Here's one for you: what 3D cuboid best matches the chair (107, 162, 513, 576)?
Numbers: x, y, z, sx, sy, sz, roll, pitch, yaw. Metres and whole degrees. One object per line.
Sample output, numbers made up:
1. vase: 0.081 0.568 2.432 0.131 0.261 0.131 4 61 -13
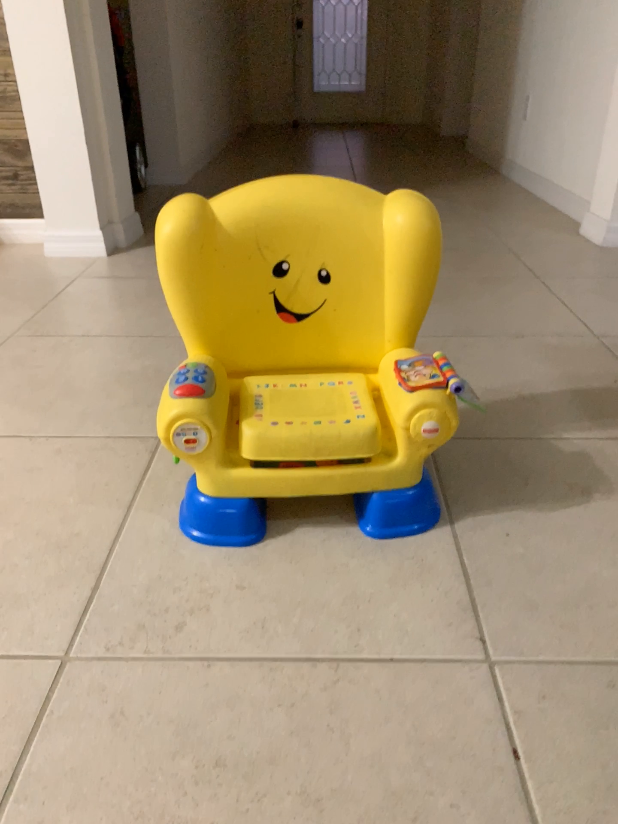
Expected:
1. chair: -0.003 -0.083 0.934 0.420 0.485 0.374 -1 28 -2
